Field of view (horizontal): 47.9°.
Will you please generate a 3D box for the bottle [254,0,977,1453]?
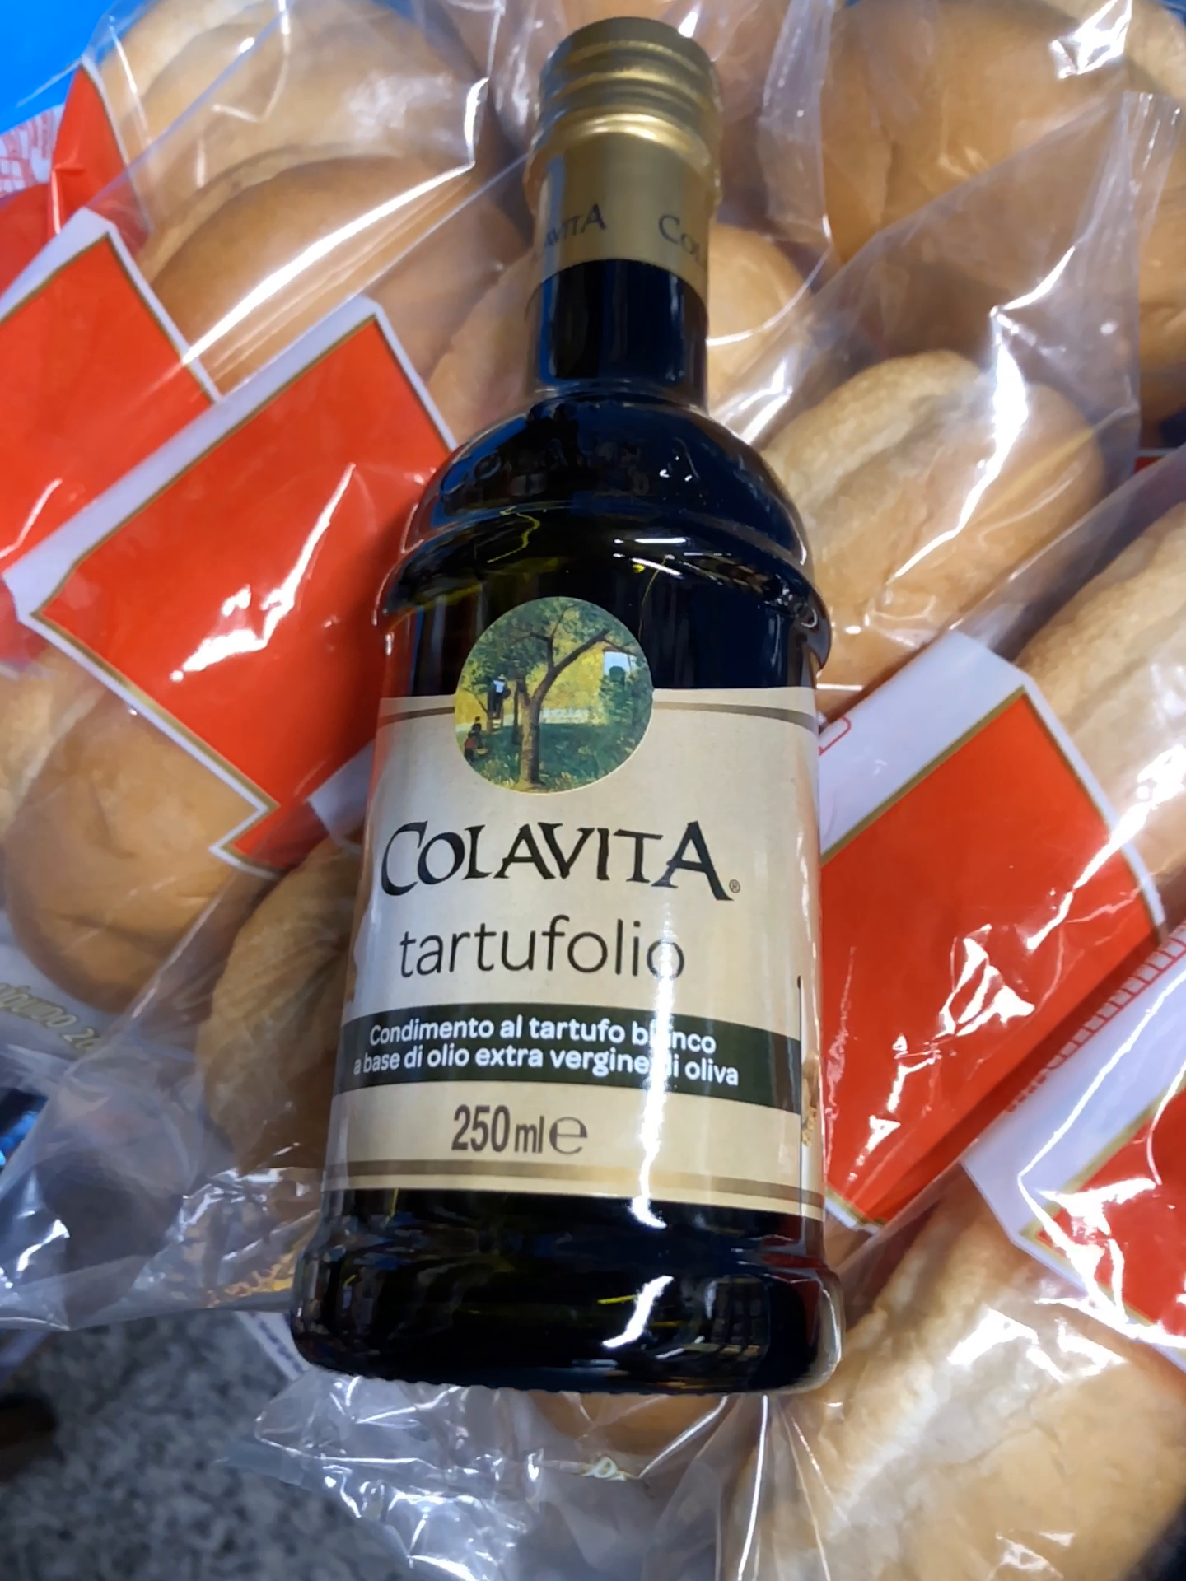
[{"bbox_3d":[0.008,-0.031,0.186,0.070,0.060,0.210,-3,73,12],"label":"bottle"}]
